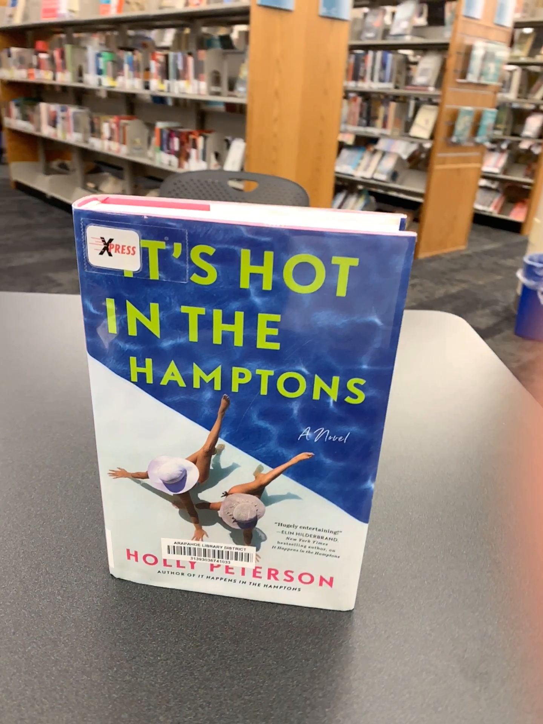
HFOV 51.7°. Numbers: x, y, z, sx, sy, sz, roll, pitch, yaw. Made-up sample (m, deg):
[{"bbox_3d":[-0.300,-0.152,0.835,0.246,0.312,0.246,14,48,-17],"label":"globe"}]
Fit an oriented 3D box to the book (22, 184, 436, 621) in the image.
[{"bbox_3d":[-0.024,0.030,0.298,0.170,0.219,0.050,6,26,4],"label":"book"}]
